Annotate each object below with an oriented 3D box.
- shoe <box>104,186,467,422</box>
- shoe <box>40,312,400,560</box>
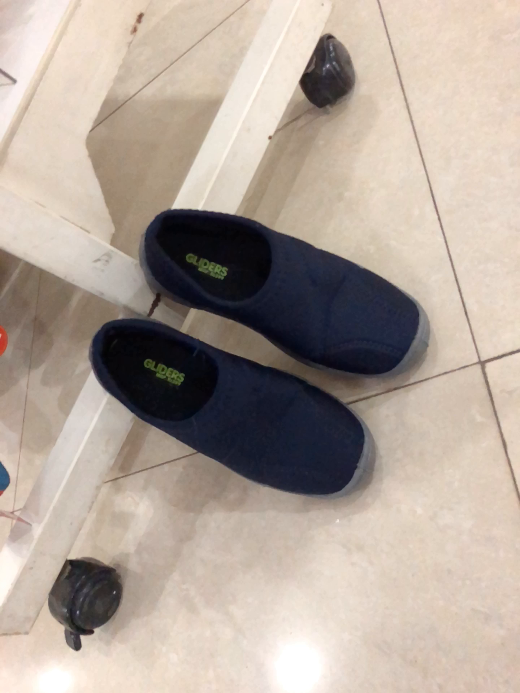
[{"bbox_3d":[0.038,-0.059,0.926,0.490,0.207,0.186,20,83,10],"label":"shoe"},{"bbox_3d":[-0.054,0.132,0.865,0.461,0.200,0.160,22,80,9],"label":"shoe"}]
